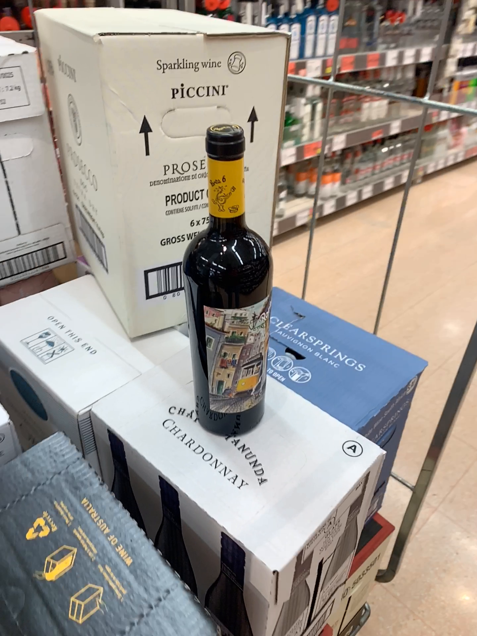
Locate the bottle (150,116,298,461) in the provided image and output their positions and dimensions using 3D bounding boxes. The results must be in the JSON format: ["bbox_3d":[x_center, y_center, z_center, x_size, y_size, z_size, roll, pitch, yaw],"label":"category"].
[{"bbox_3d":[-0.015,-0.014,0.442,0.079,0.295,0.077,1,34,-1],"label":"bottle"}]
